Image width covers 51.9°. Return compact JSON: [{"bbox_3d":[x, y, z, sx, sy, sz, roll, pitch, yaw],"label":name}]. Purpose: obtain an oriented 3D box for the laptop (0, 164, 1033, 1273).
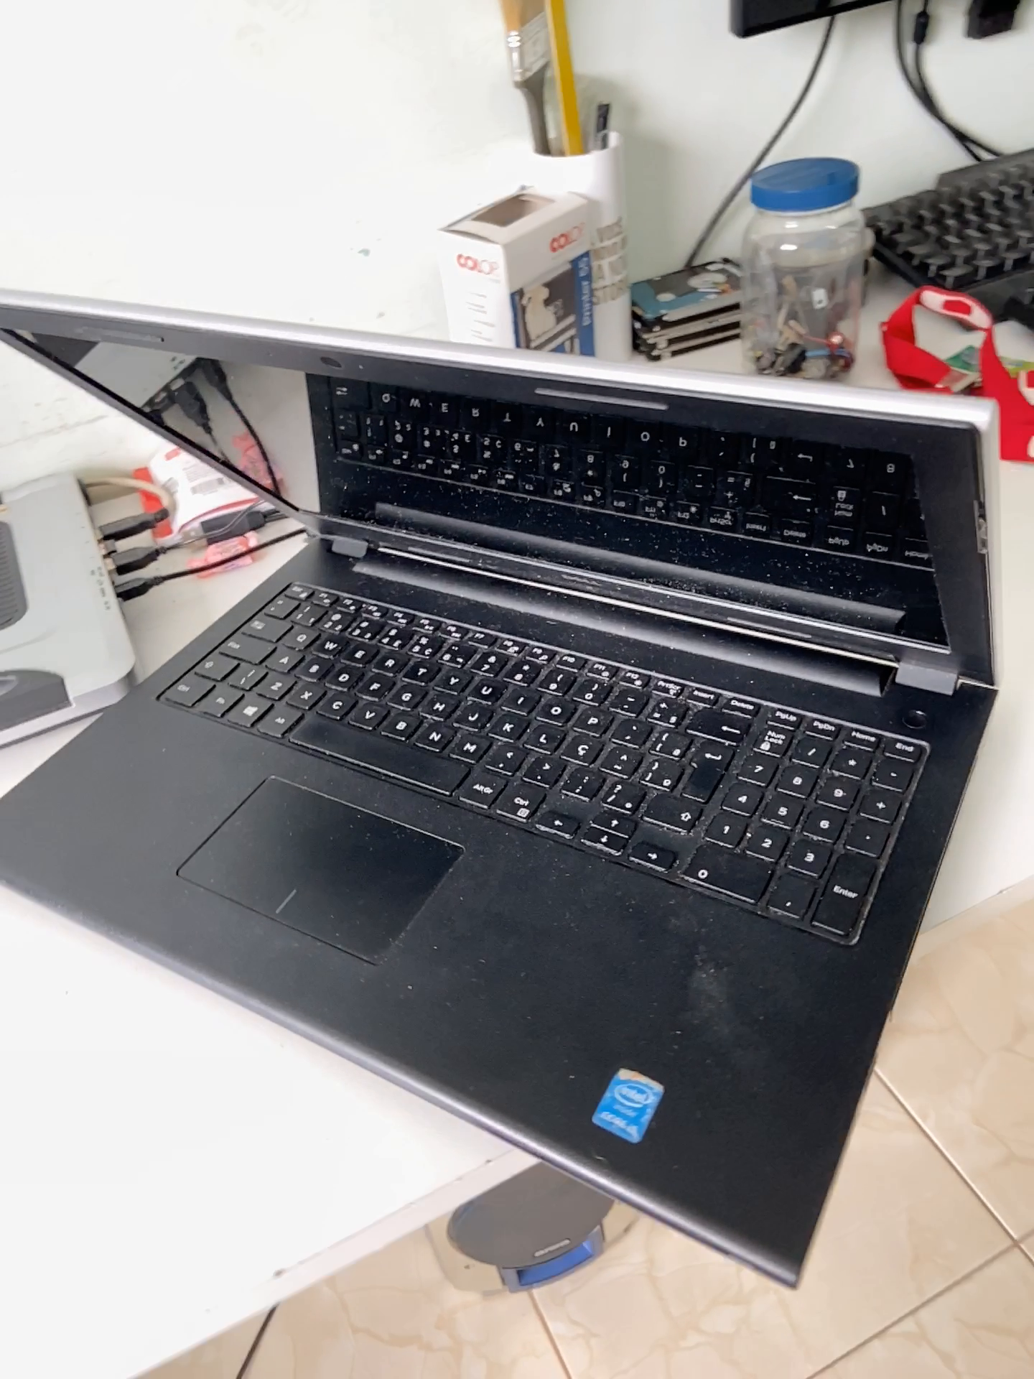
[{"bbox_3d":[-0.022,-0.039,0.391,0.374,0.204,0.258,16,47,26],"label":"laptop"}]
